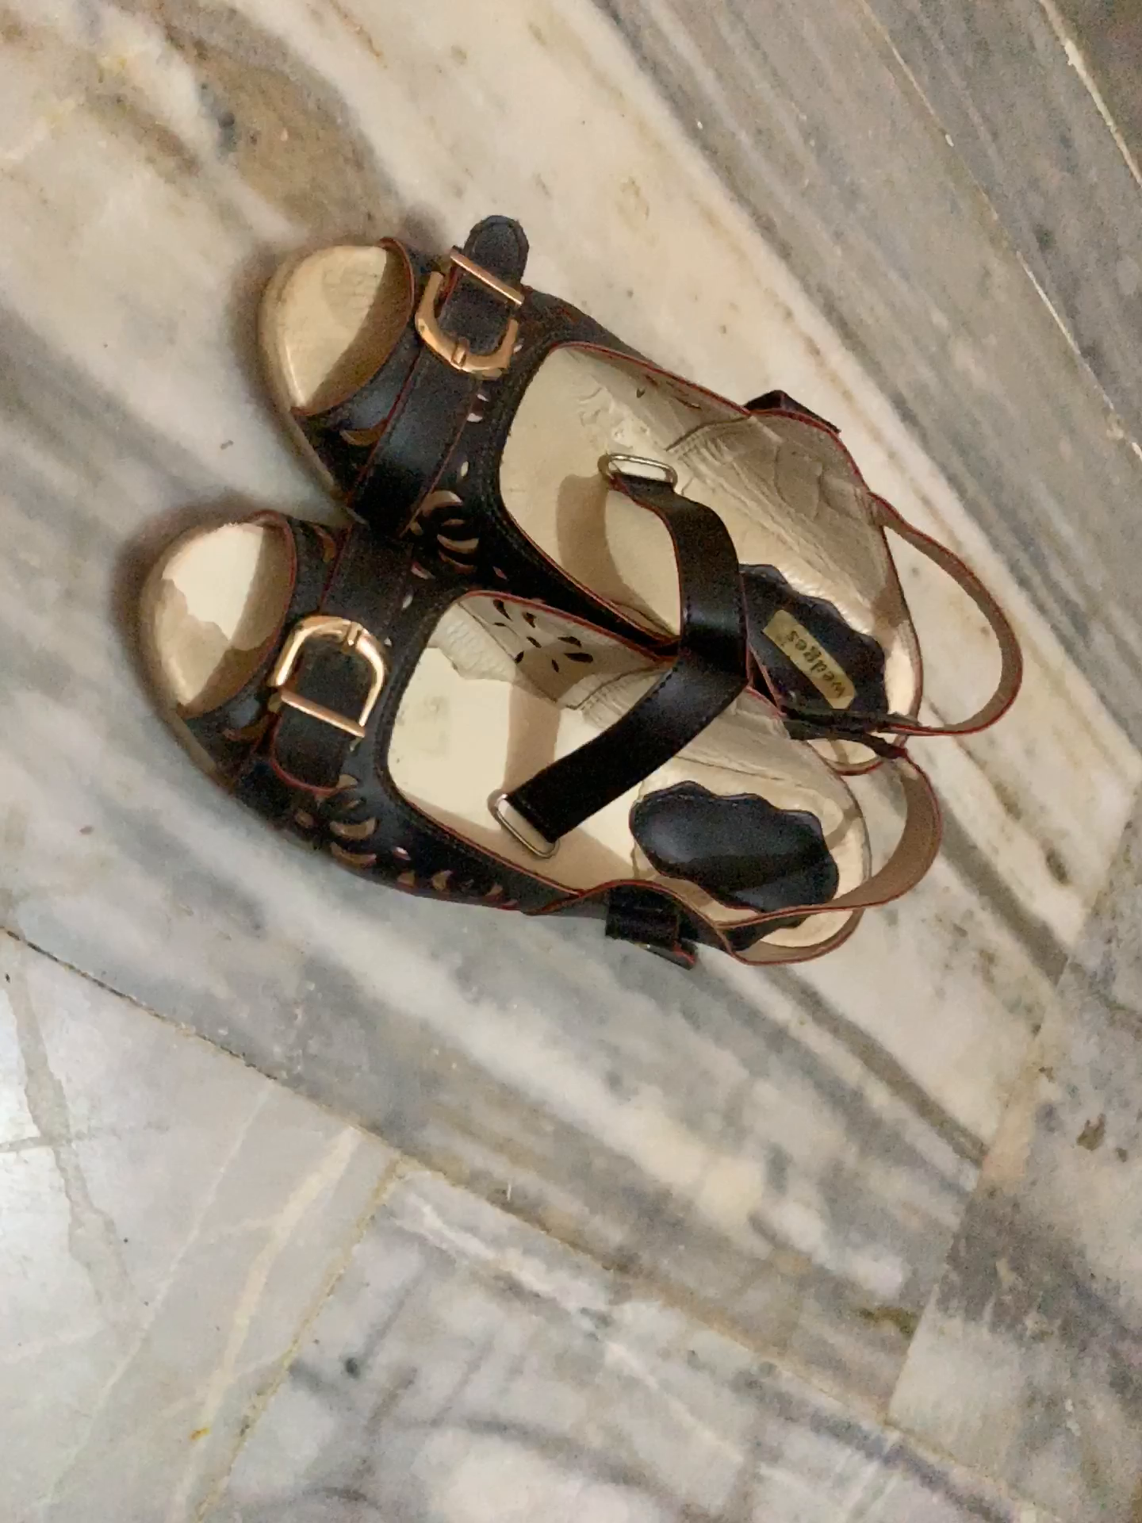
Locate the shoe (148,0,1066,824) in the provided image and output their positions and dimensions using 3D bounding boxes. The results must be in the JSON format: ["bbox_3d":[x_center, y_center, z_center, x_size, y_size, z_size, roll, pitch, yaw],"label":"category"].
[{"bbox_3d":[0.027,-0.079,0.361,0.261,0.100,0.100,28,76,-33],"label":"shoe"}]

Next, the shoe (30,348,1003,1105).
[{"bbox_3d":[0.001,0.009,0.348,0.261,0.100,0.100,28,76,-33],"label":"shoe"}]
